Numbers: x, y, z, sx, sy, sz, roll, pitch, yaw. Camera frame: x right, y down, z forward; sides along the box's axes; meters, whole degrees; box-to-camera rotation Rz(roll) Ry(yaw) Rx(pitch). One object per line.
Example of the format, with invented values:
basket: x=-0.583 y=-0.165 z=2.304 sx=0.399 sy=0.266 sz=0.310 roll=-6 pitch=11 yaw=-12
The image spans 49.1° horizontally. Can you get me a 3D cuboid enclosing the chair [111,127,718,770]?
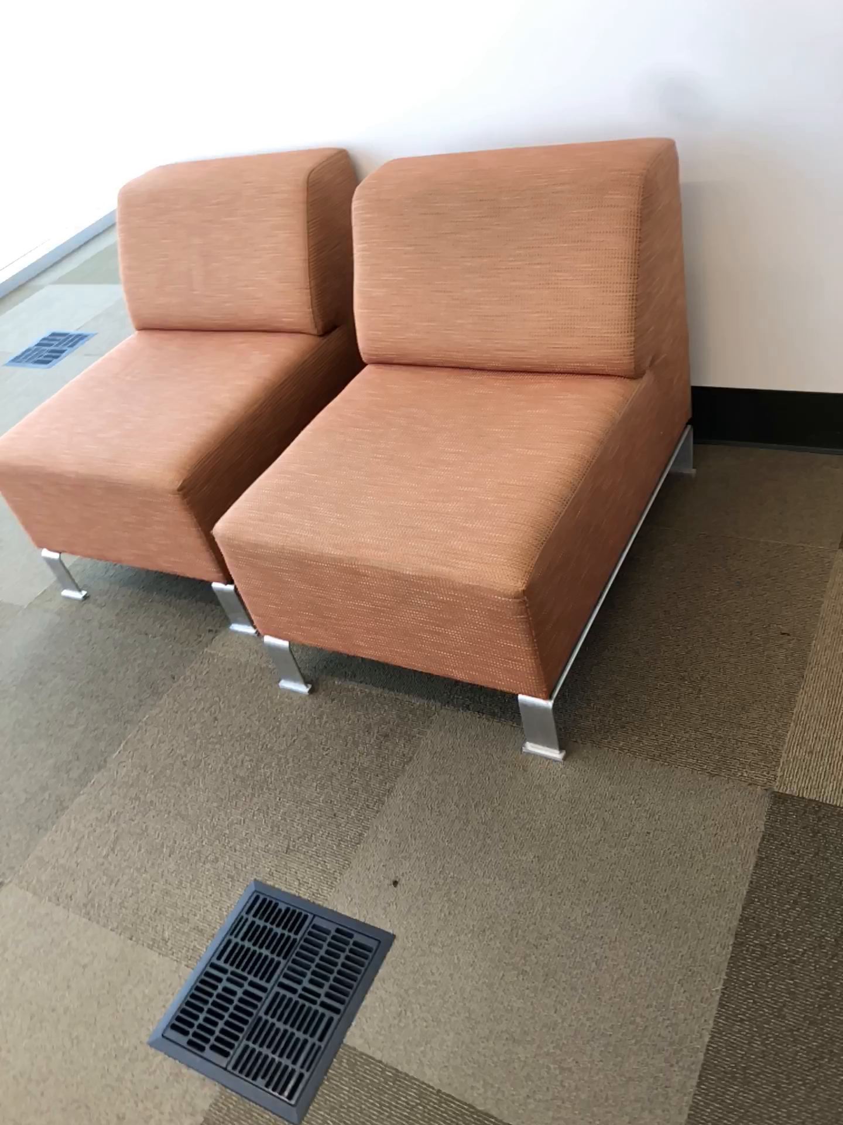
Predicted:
chair: x=0.099 y=-0.274 z=1.822 sx=0.696 sy=0.759 sz=0.925 roll=9 pitch=44 yaw=30

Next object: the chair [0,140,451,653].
chair: x=-0.546 y=-0.451 z=2.331 sx=0.766 sy=0.809 sz=0.935 roll=9 pitch=44 yaw=29
